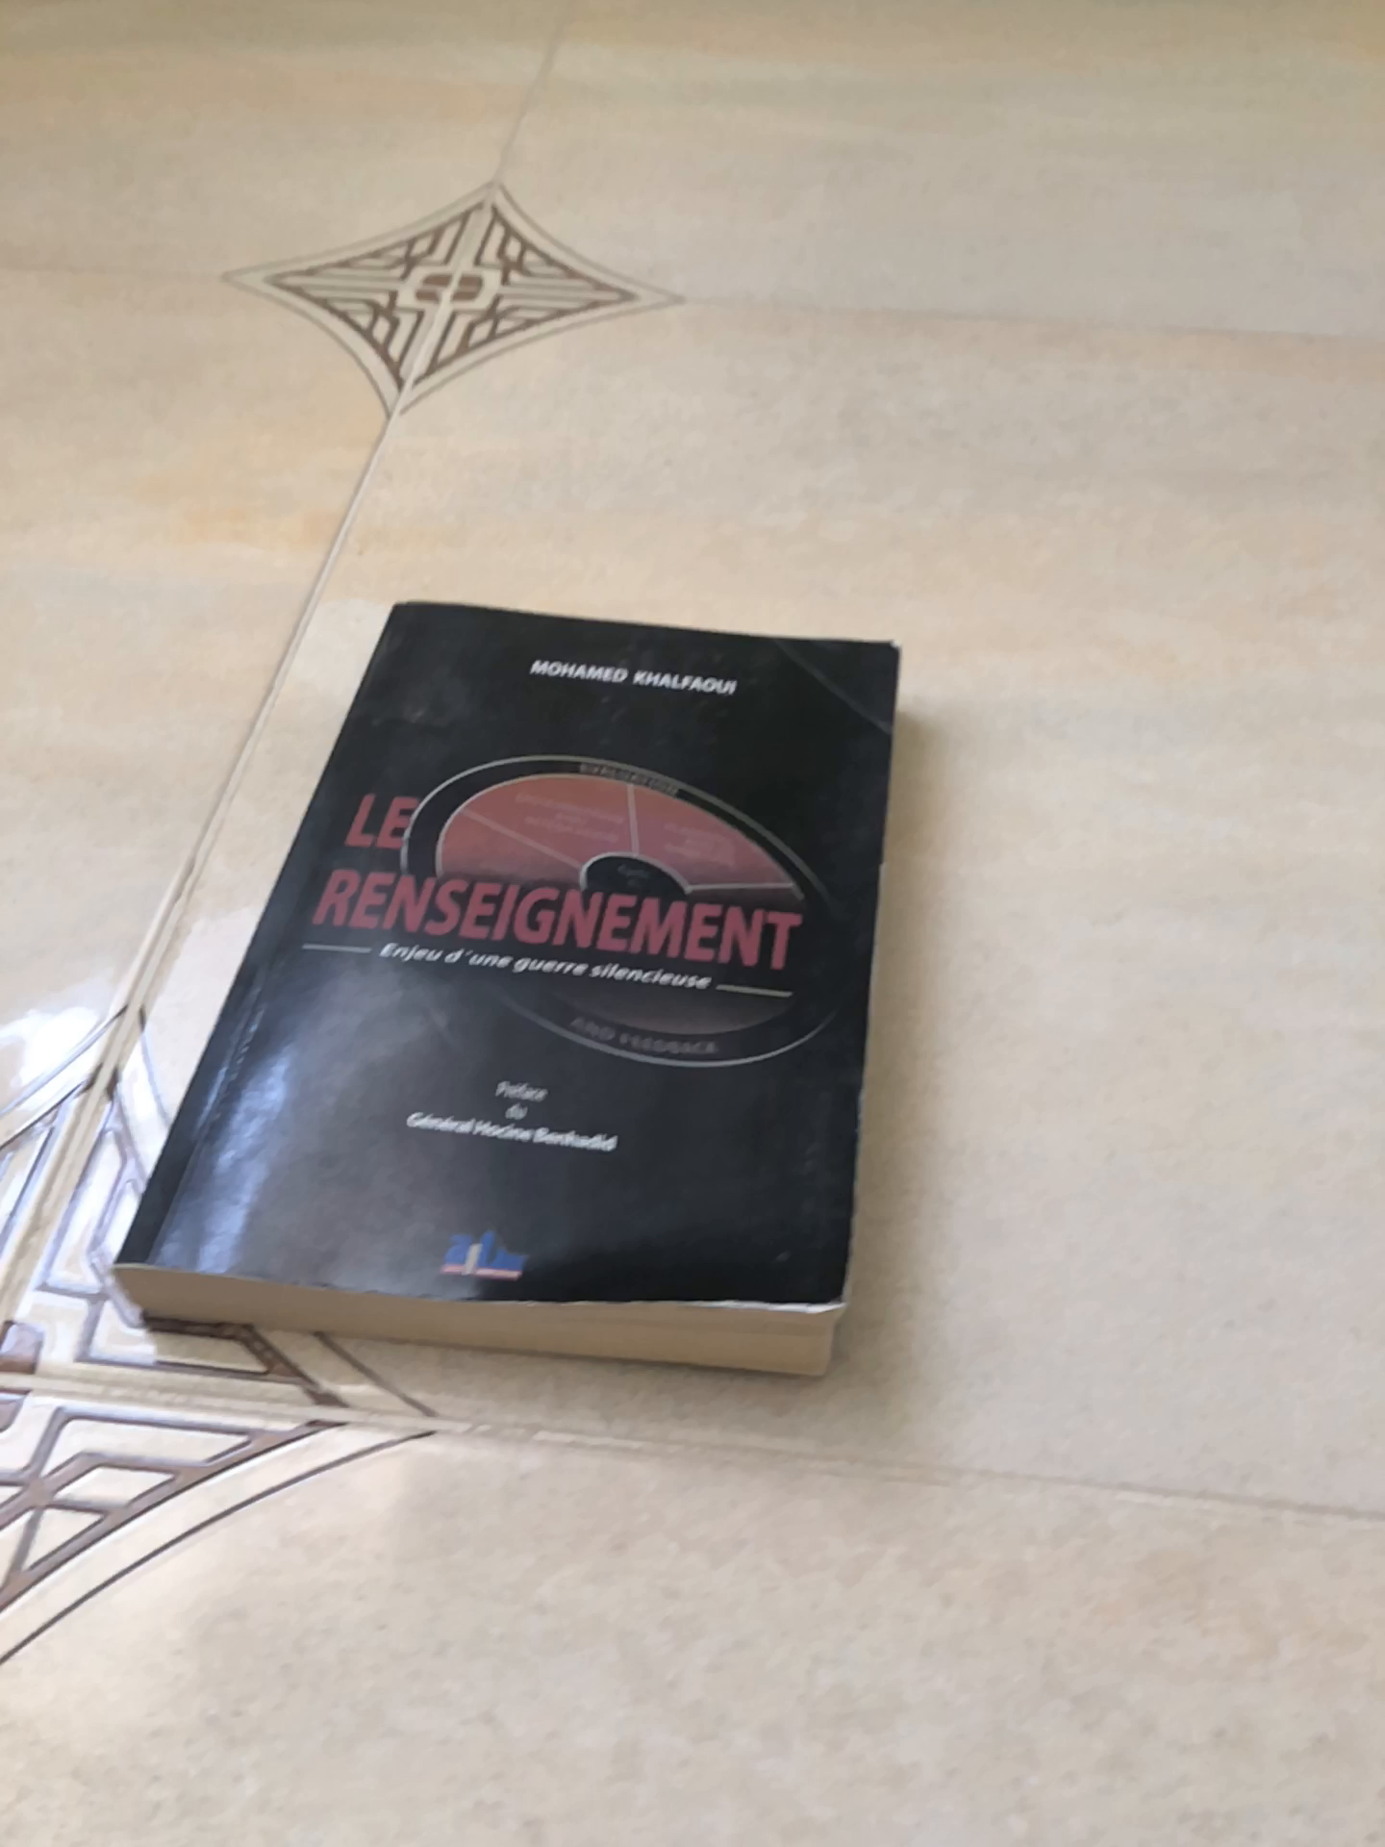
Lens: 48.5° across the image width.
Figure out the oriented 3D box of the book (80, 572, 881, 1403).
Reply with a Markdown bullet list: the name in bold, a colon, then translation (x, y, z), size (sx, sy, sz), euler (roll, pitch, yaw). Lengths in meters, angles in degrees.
- **book**: translation (-0.034, 0.001, 0.366), size (0.146, 0.037, 0.201), euler (6, 51, 3)
